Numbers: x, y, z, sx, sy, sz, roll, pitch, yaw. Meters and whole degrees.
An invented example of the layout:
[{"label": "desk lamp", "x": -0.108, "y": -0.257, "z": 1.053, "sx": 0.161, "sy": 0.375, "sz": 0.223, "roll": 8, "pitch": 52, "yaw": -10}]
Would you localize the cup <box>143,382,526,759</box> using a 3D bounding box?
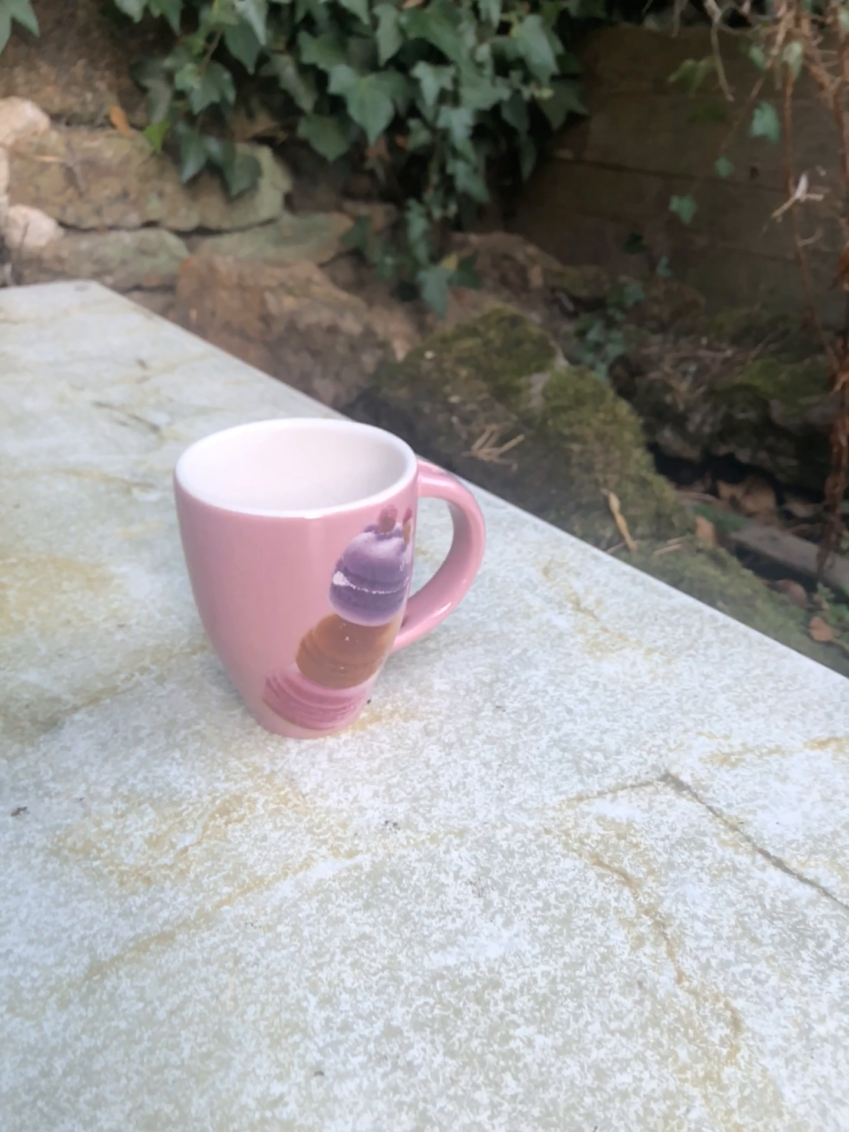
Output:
[{"label": "cup", "x": -0.032, "y": -0.005, "z": 0.316, "sx": 0.099, "sy": 0.080, "sz": 0.080, "roll": -12, "pitch": 33, "yaw": -22}]
